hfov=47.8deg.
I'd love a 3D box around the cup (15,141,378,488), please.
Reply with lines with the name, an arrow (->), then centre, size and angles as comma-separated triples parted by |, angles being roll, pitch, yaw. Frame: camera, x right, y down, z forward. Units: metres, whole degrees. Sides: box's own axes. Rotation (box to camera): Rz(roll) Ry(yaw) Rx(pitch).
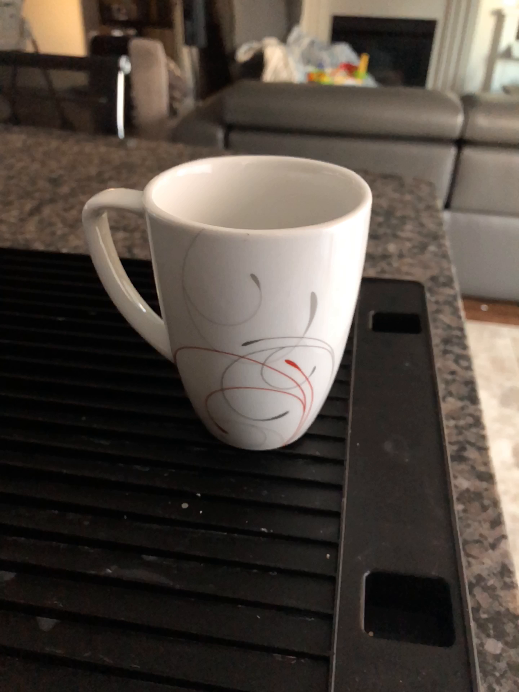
cup -> -0.016, -0.018, 0.247 | 0.116, 0.105, 0.088 | 6, 33, 7
